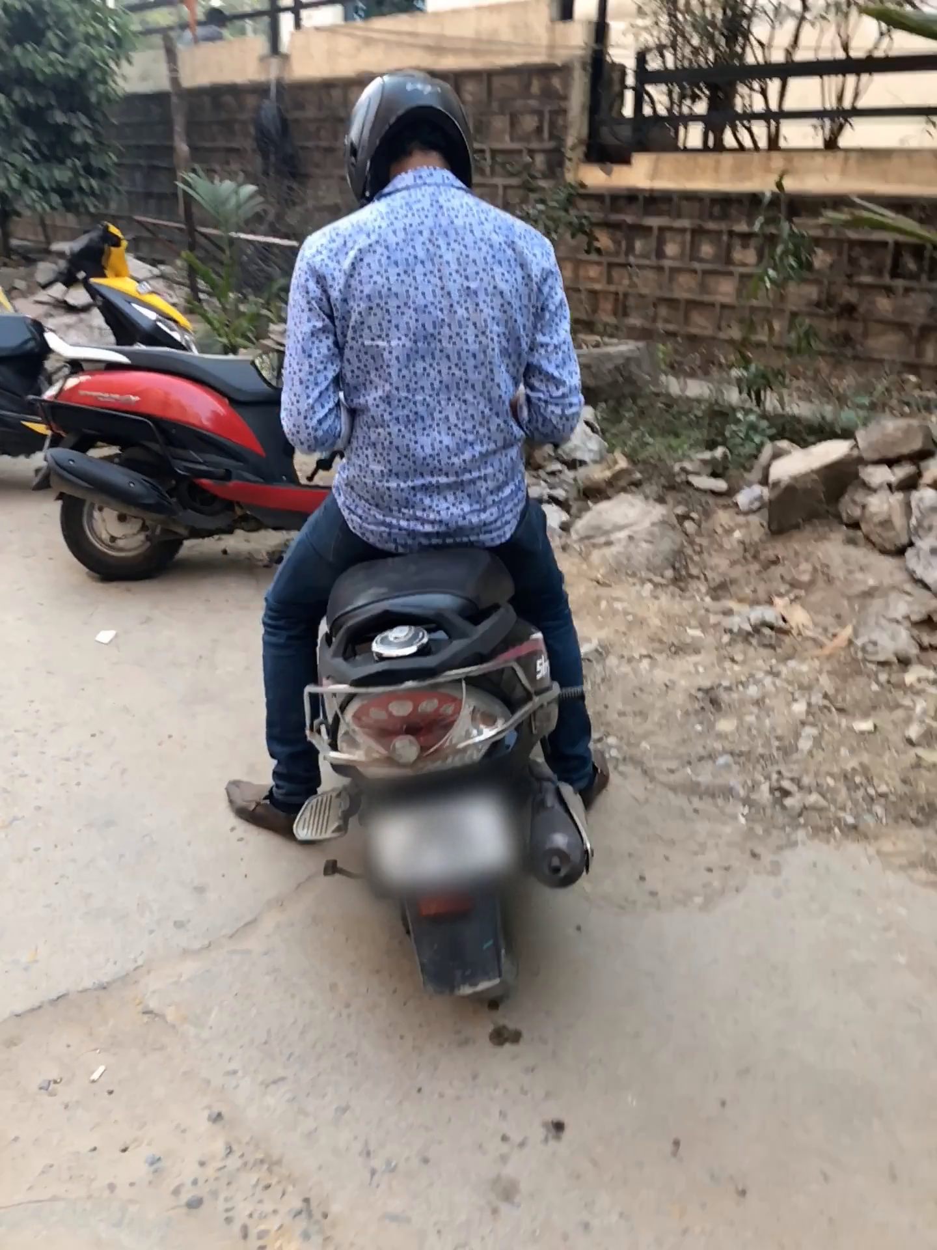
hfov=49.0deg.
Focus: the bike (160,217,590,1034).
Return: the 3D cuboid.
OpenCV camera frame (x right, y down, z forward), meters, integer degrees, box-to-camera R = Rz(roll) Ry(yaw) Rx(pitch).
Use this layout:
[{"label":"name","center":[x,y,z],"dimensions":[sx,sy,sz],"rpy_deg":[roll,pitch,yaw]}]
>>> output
[{"label":"bike","center":[-0.240,-0.176,2.177],"dimensions":[0.559,1.055,1.482],"rpy_deg":[-2,27,-8]}]
